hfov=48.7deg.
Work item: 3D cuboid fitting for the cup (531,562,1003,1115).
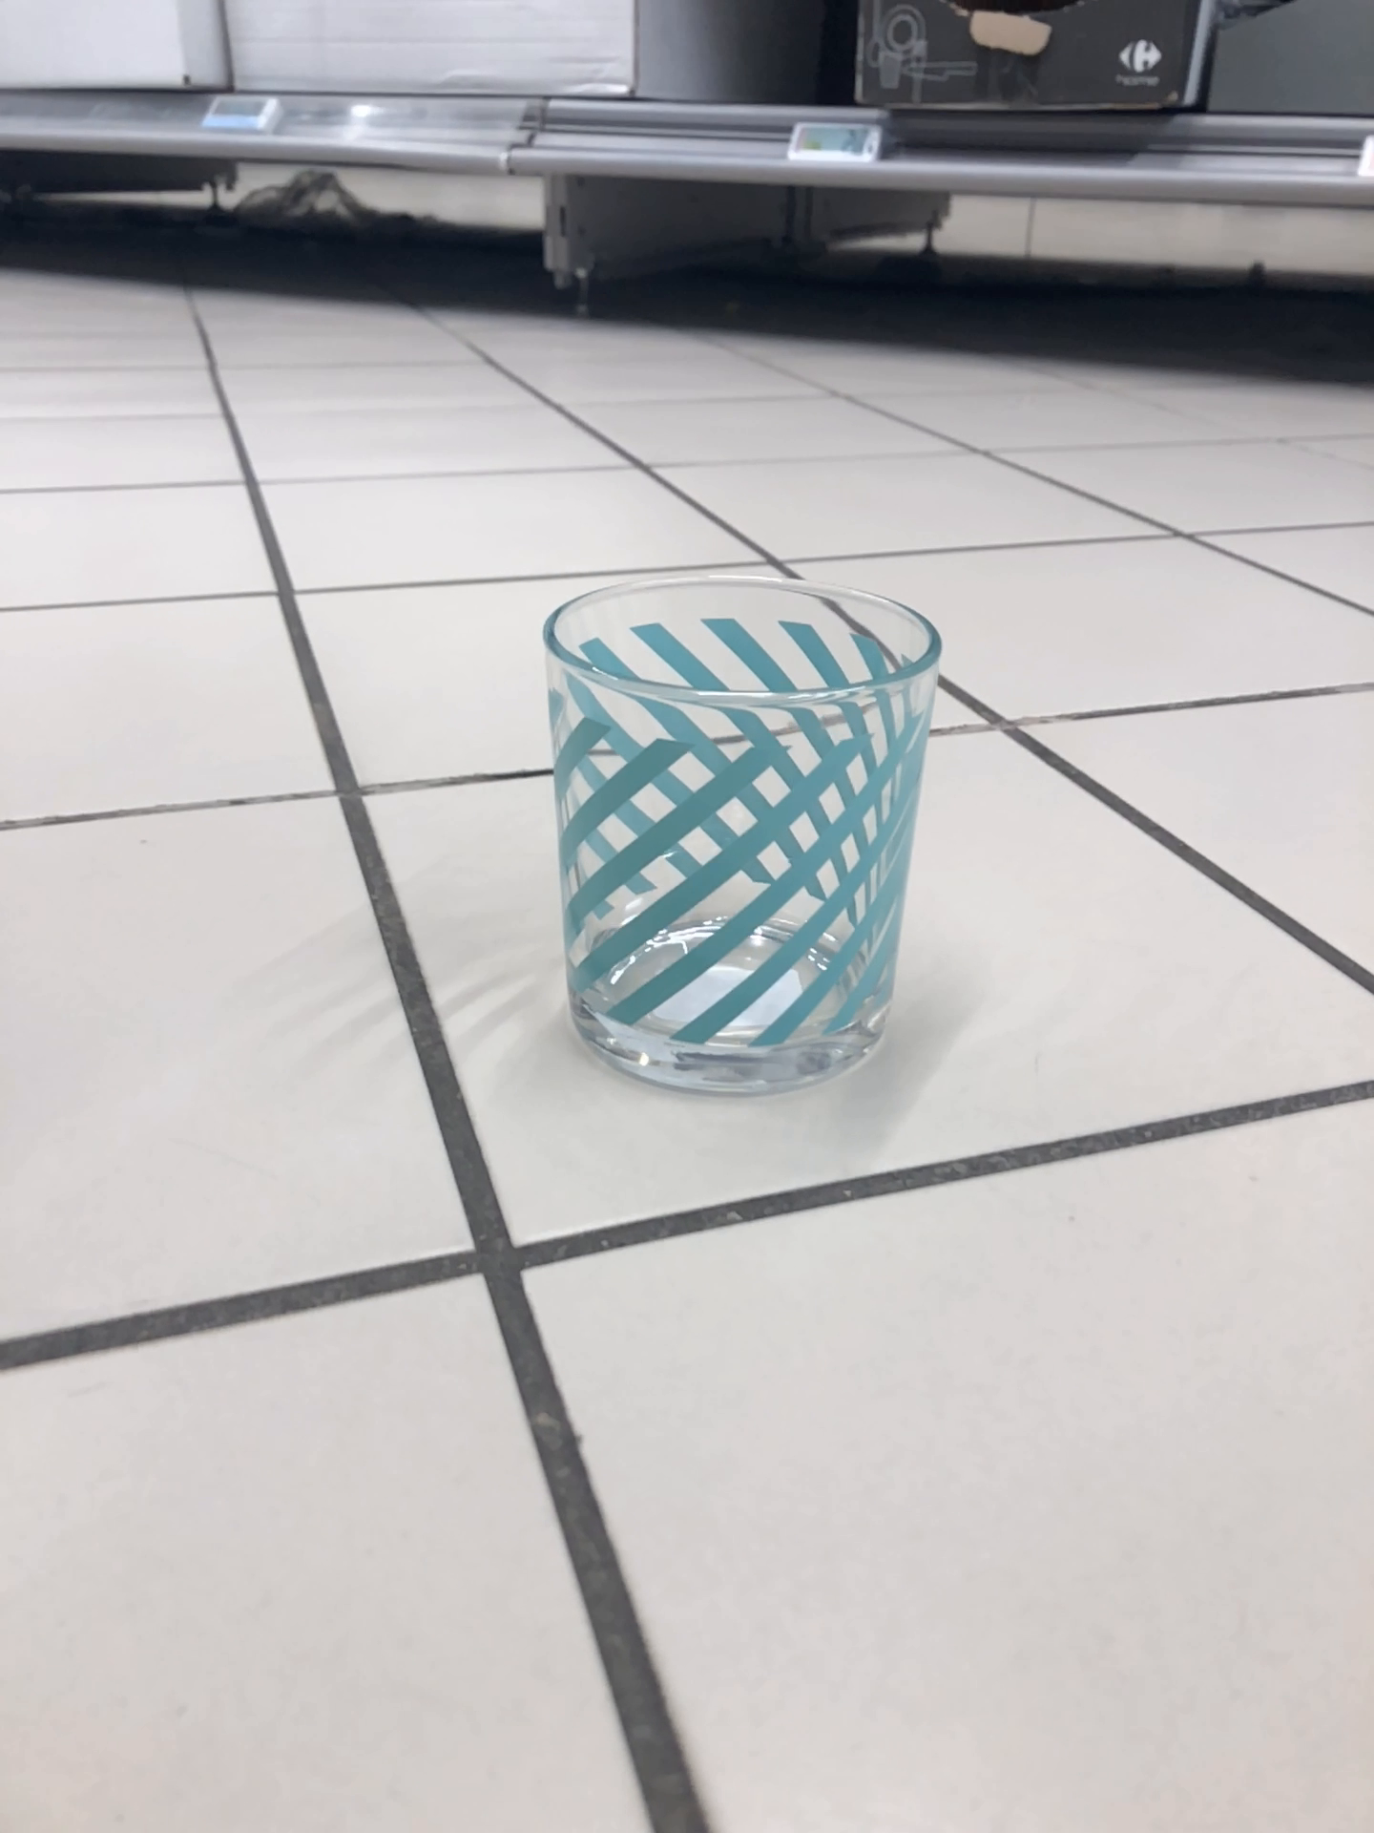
[{"bbox_3d":[0.013,-0.018,0.295,0.075,0.080,0.080,1,27,0],"label":"cup"}]
